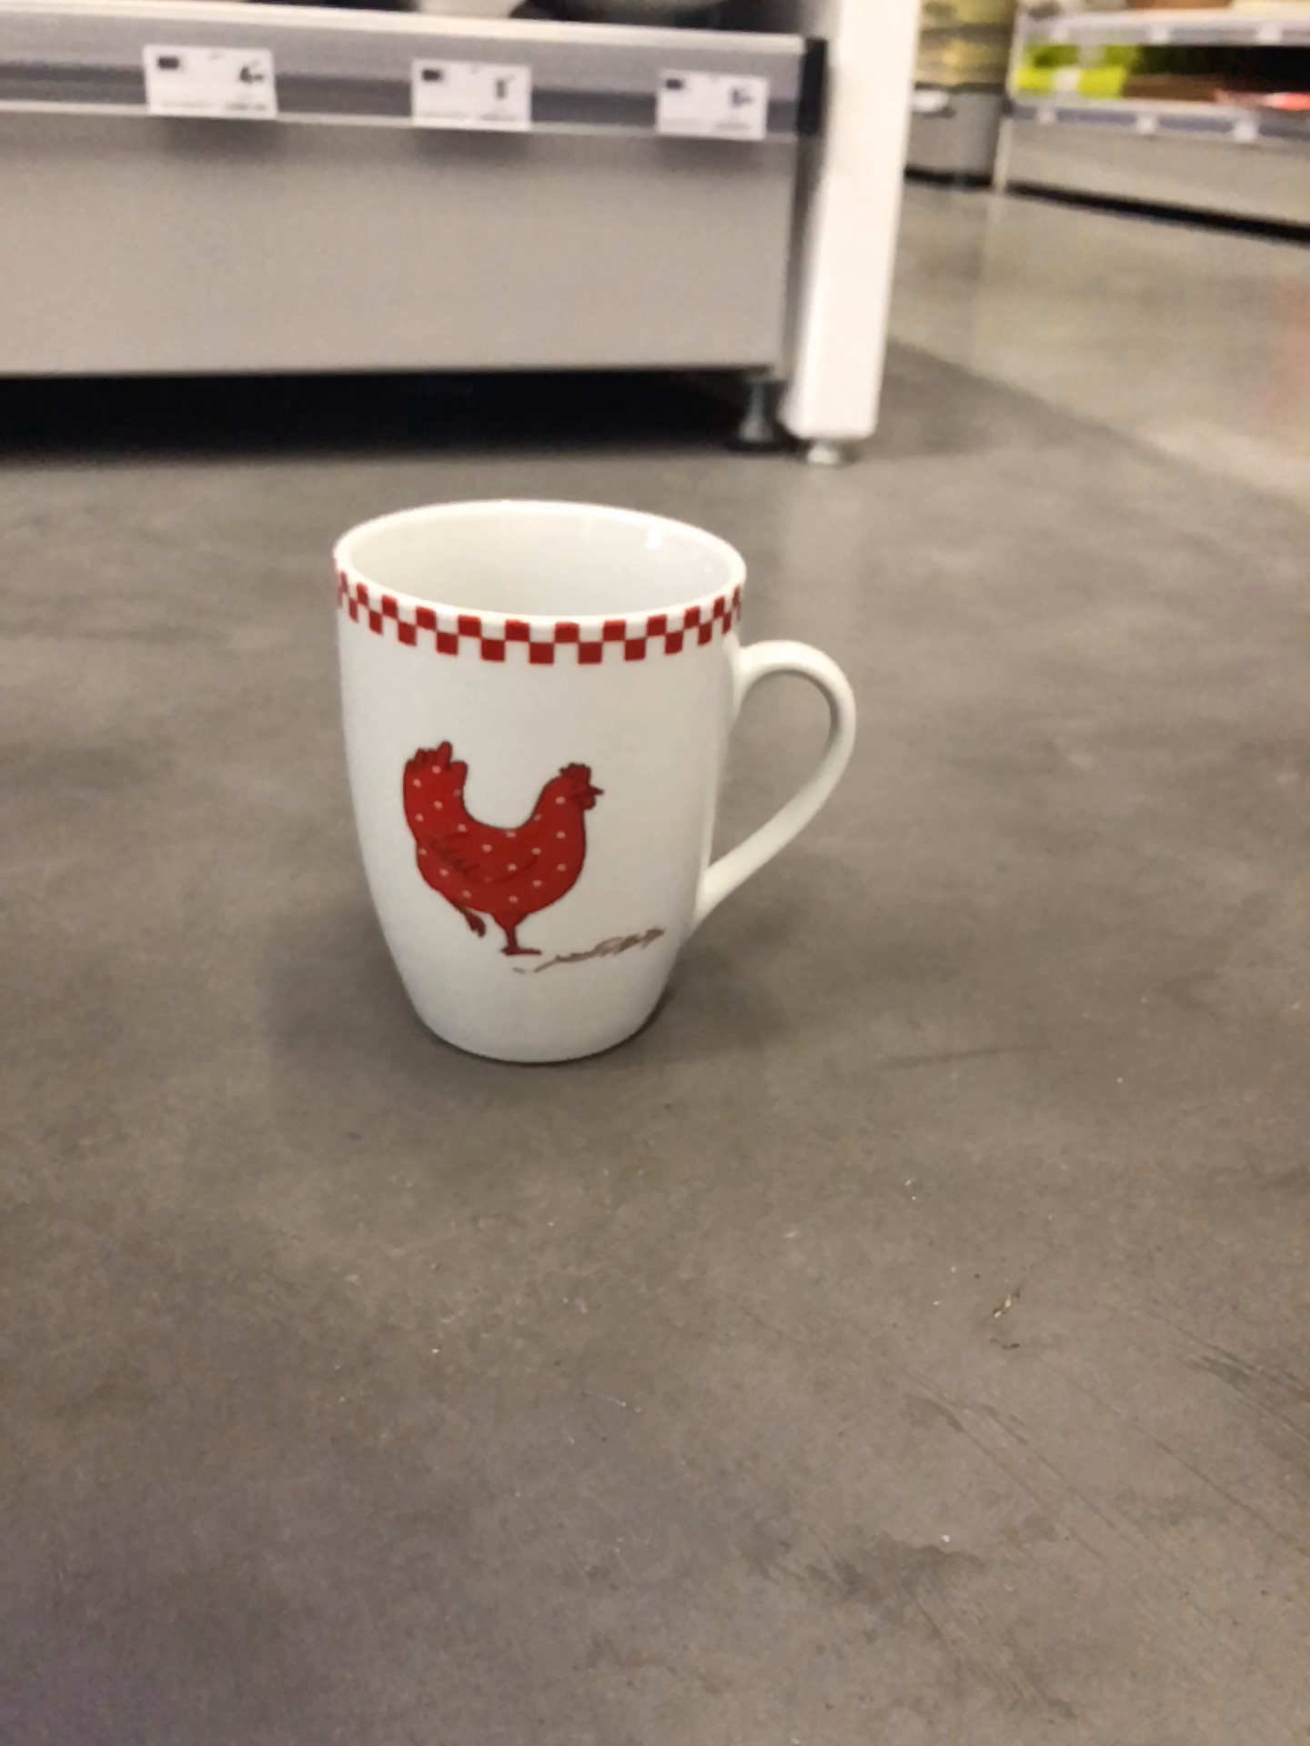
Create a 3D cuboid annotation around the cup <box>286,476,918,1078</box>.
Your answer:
[{"bbox_3d":[-0.013,-0.022,0.297,0.103,0.092,0.088,0,28,-5],"label":"cup"}]
